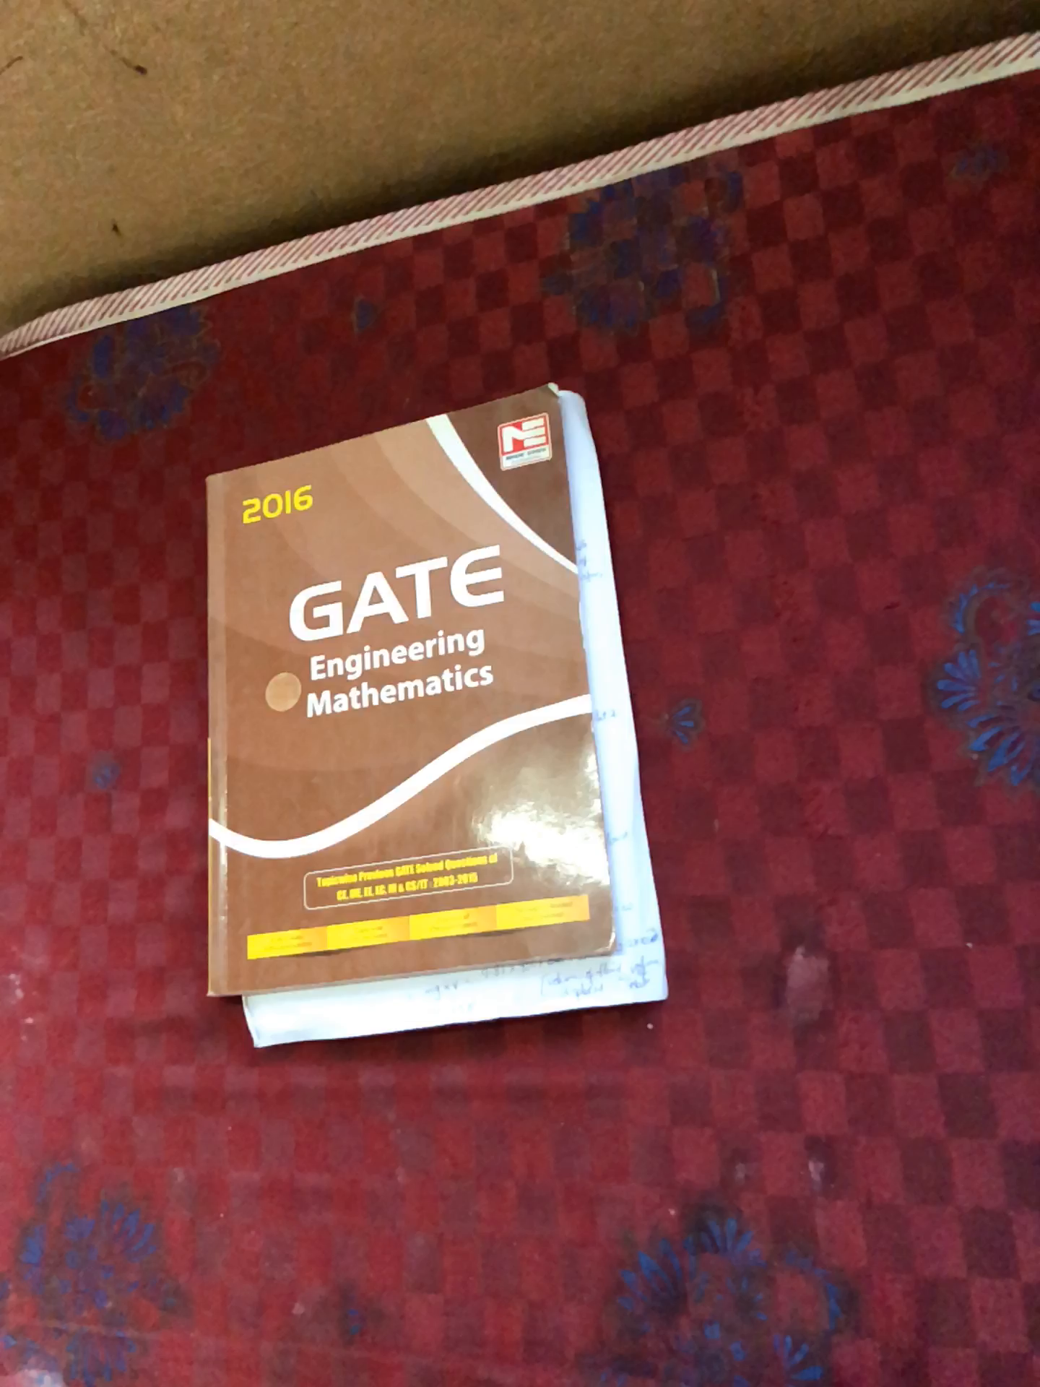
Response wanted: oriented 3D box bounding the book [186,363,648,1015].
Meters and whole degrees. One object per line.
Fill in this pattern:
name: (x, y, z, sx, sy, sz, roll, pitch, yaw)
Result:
book: (-0.062, -0.001, 0.588, 0.221, 0.040, 0.300, -10, 71, 18)
